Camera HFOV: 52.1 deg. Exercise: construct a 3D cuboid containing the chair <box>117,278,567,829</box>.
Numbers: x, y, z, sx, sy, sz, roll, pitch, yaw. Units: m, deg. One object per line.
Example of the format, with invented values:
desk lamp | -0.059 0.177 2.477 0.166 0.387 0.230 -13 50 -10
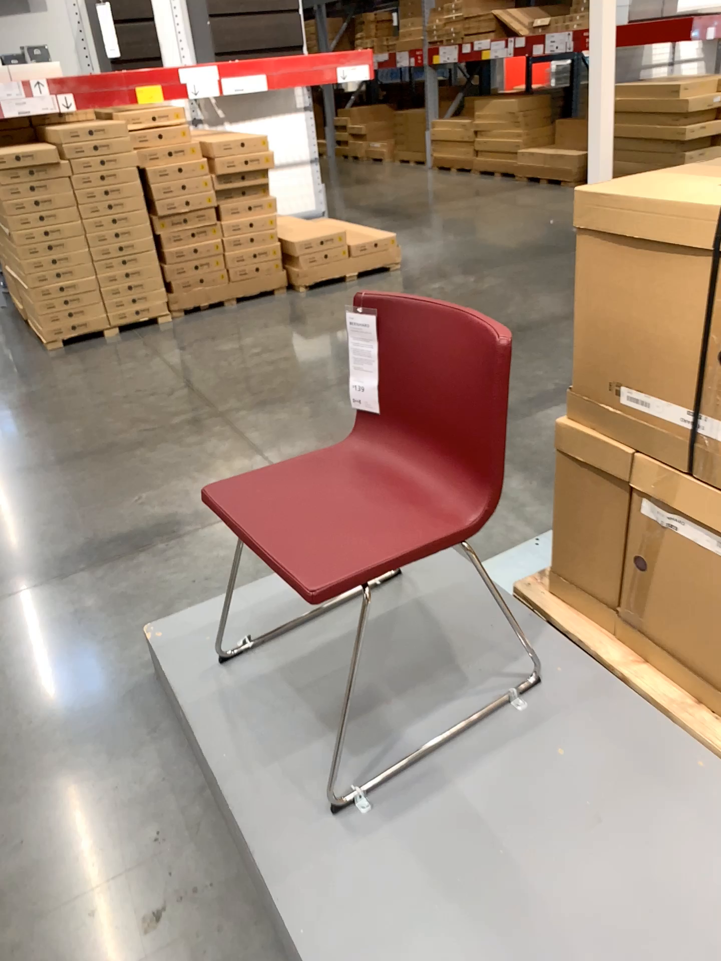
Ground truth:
chair | -0.023 0.083 1.393 0.550 0.726 0.532 -22 33 -26
